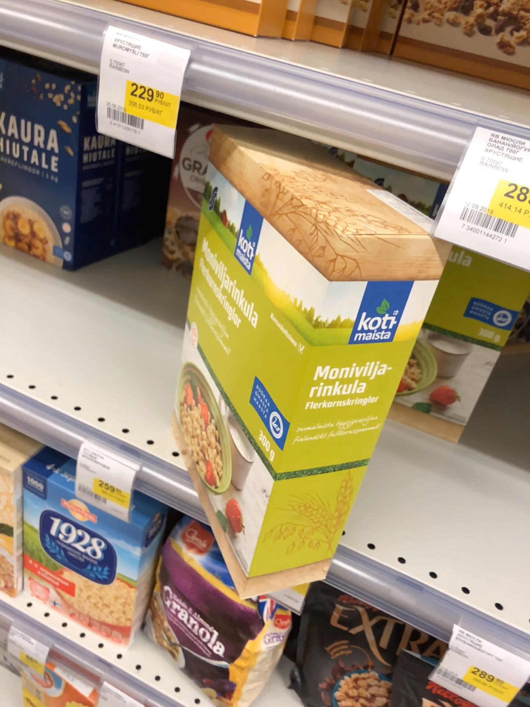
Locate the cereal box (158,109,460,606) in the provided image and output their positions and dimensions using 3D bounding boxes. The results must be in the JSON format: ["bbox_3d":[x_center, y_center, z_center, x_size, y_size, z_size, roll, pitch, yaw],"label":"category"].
[{"bbox_3d":[-0.002,-0.001,0.396,0.070,0.258,0.191,-2,34,-25],"label":"cereal box"}]
